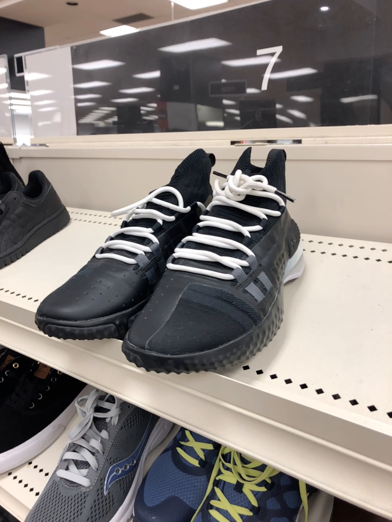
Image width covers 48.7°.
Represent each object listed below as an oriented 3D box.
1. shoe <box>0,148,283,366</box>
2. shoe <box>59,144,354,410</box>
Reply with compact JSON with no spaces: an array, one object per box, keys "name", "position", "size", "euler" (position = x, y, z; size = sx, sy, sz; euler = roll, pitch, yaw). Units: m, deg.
[{"name":"shoe","position":[-0.032,-0.040,0.508],"size":[0.120,0.136,0.352],"euler":[9,24,35]},{"name":"shoe","position":[0.051,-0.028,0.440],"size":[0.120,0.136,0.352],"euler":[8,24,32]}]
